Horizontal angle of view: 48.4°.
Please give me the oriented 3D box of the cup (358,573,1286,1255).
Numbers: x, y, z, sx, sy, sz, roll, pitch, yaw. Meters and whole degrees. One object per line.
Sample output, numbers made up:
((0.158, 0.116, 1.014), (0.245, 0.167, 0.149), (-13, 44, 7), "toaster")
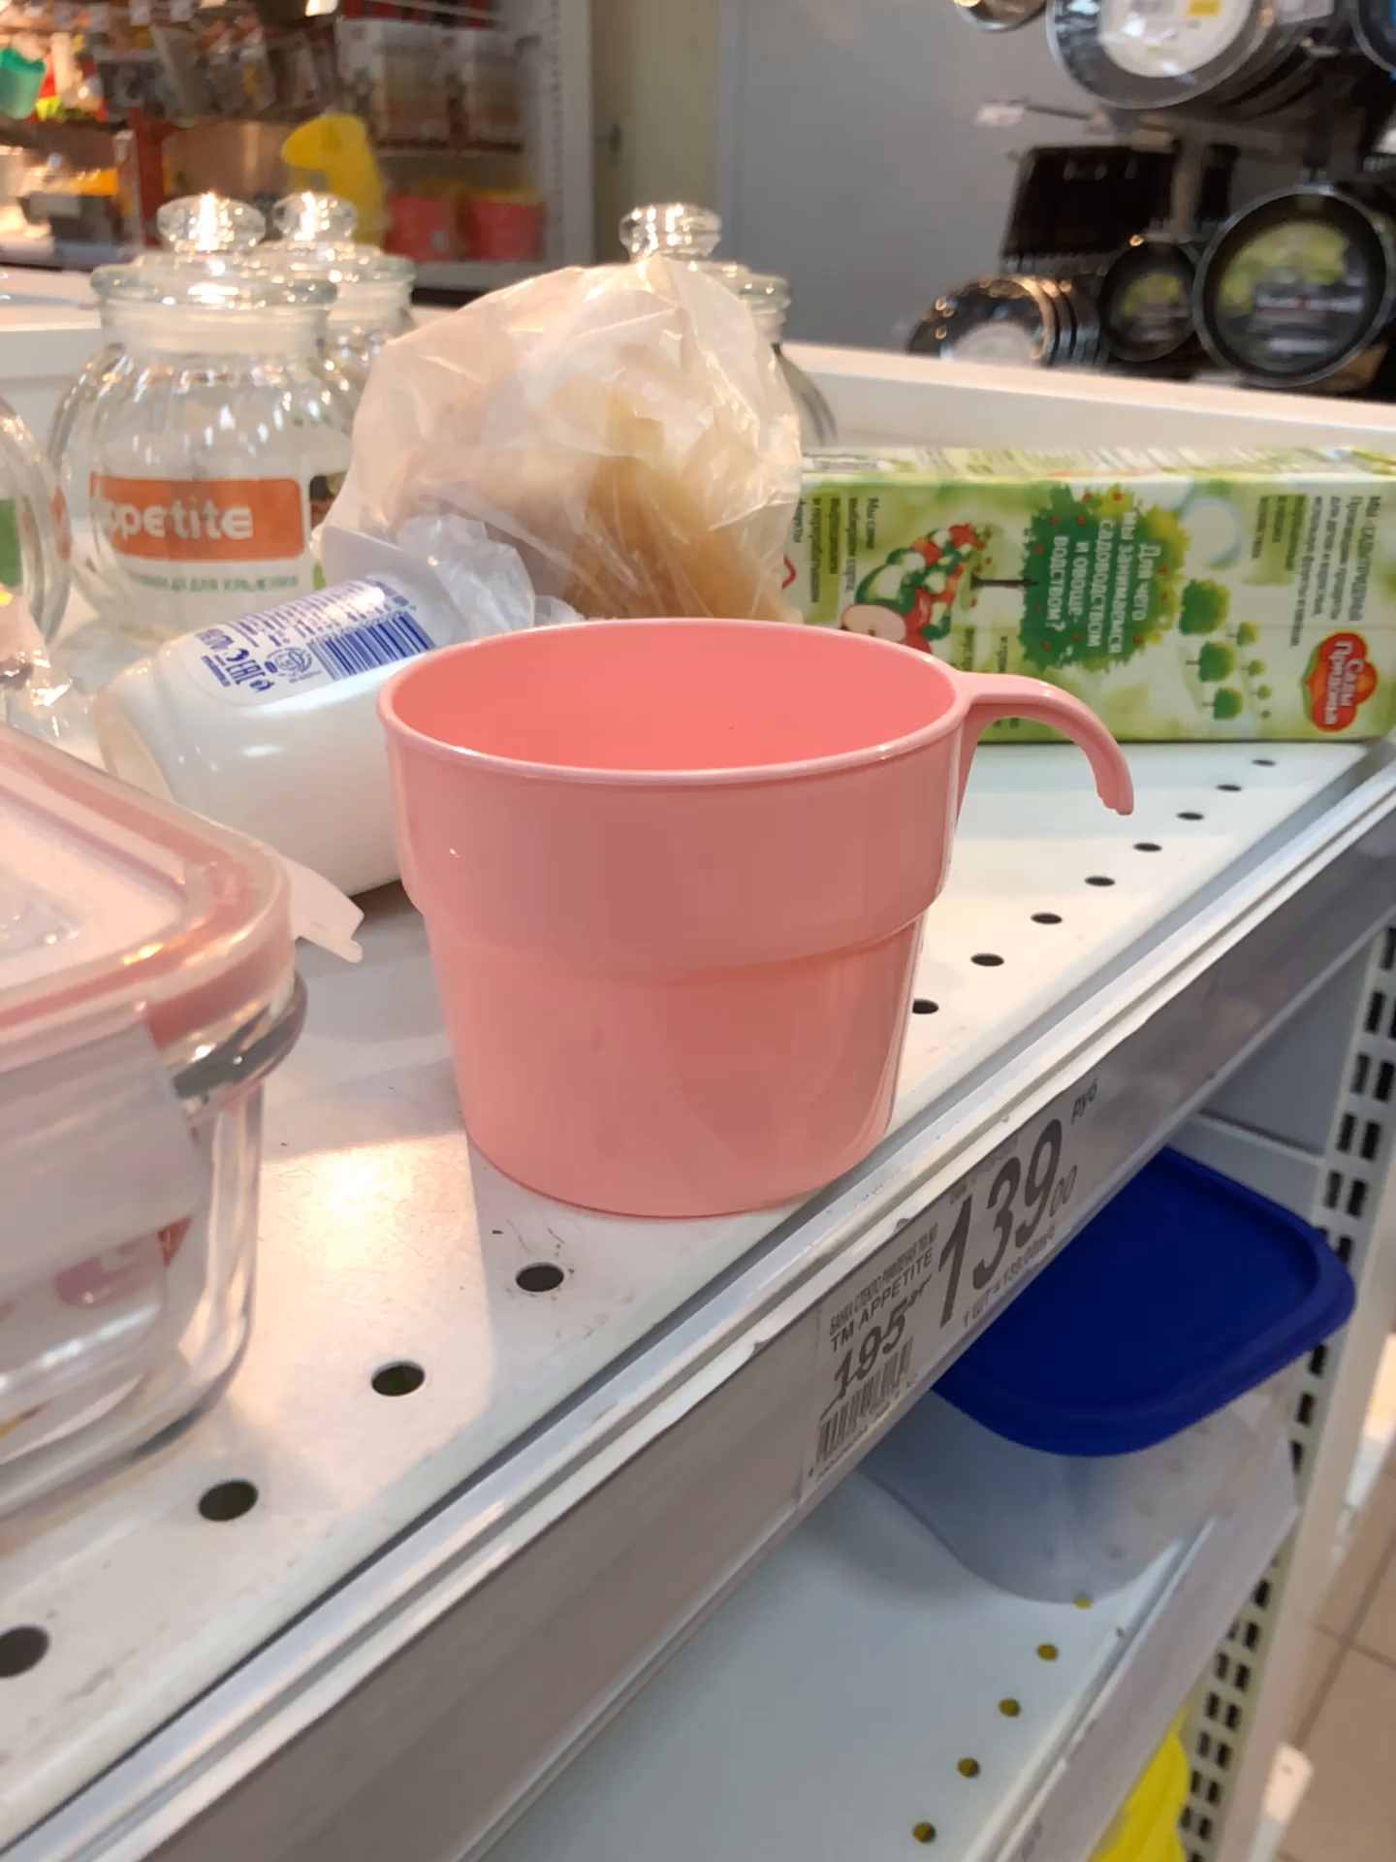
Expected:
((0.010, -0.009, 0.230), (0.110, 0.070, 0.081), (-3, 23, -9), "cup")
